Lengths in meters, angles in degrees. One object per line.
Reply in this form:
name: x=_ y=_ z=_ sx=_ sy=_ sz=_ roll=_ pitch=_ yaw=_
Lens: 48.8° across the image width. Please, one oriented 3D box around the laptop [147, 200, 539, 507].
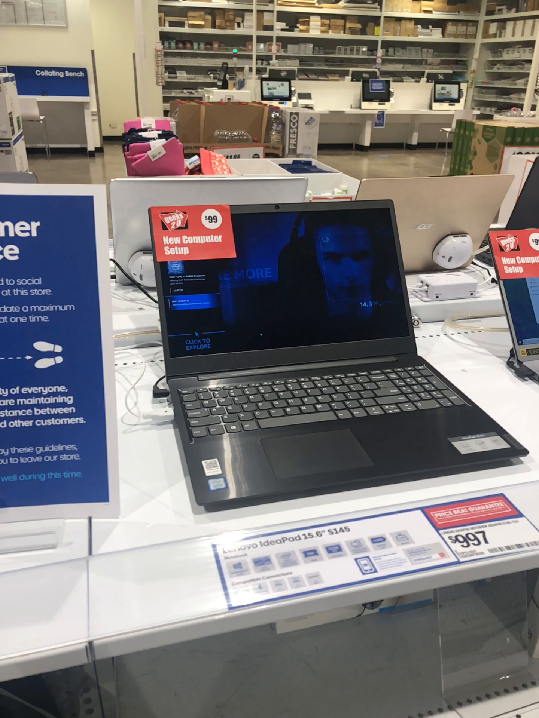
laptop: x=0.058 y=-0.049 z=0.704 sx=0.352 sy=0.192 sz=0.374 roll=-6 pitch=27 yaw=-15
